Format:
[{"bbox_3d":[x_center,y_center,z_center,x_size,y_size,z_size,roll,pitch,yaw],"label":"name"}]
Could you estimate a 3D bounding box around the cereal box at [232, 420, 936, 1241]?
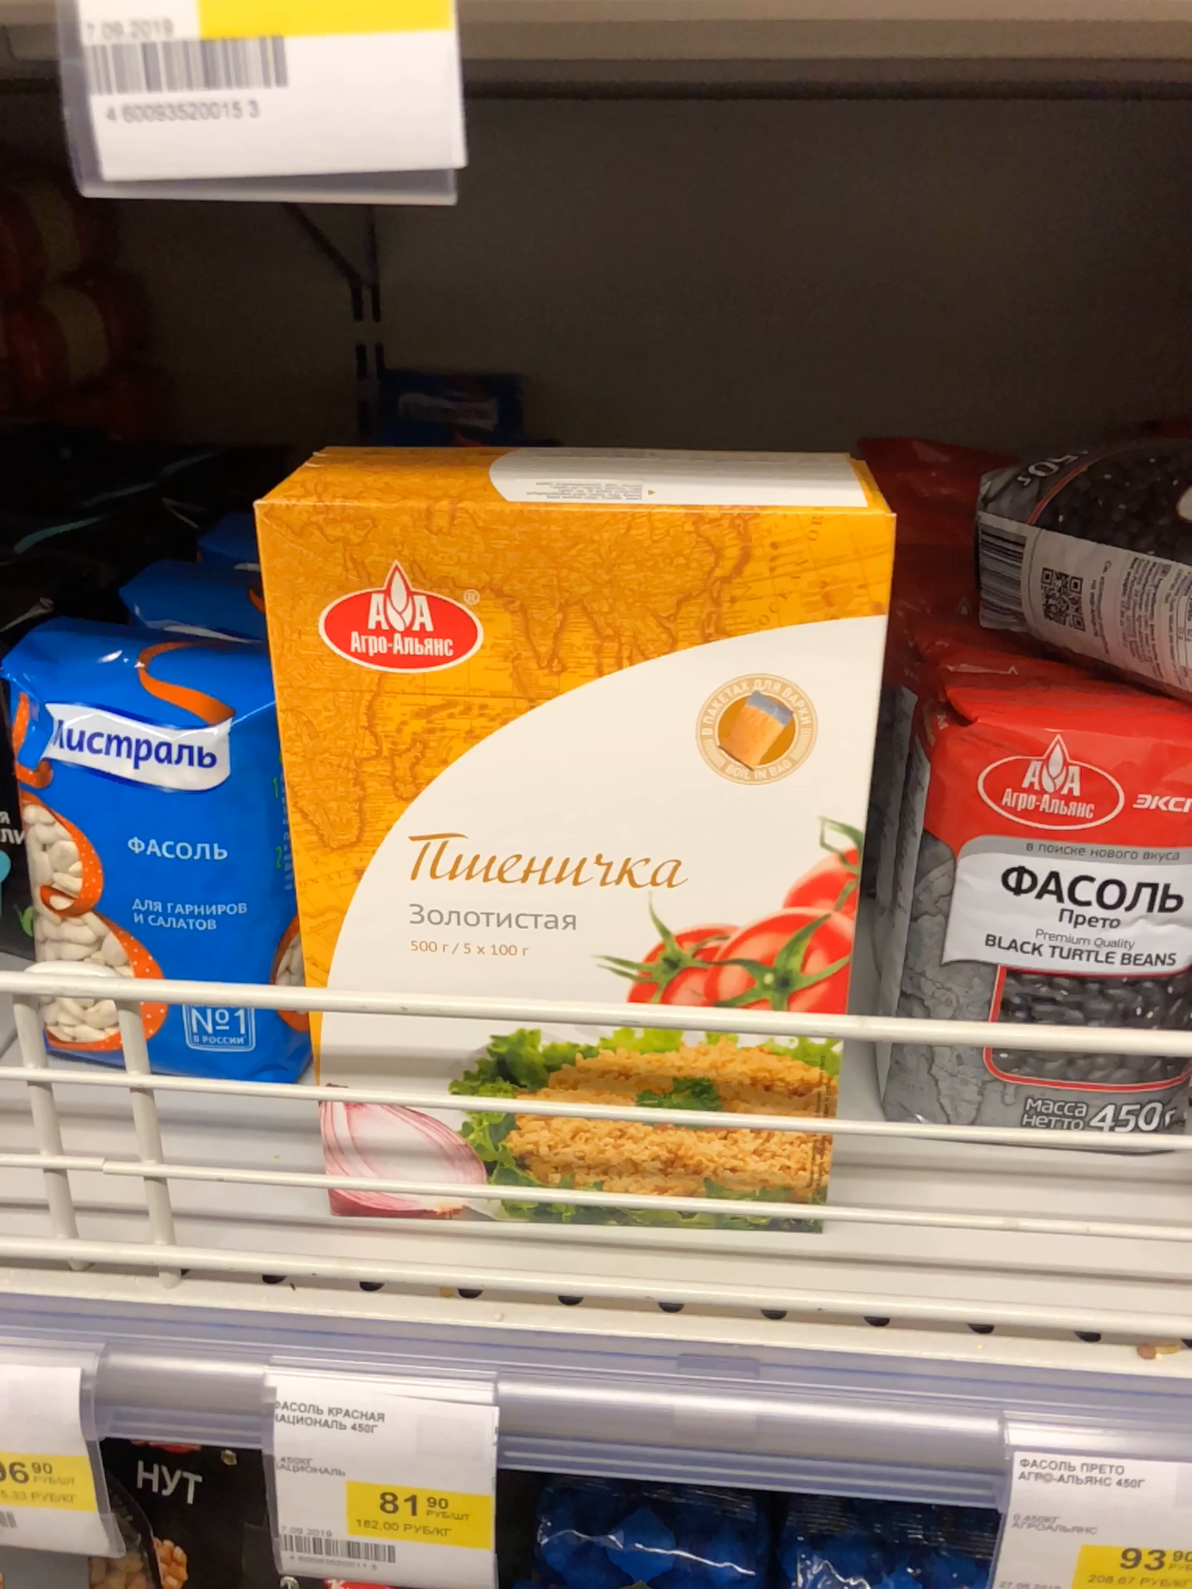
[{"bbox_3d":[-0.001,0.013,0.332,0.140,0.199,0.060,1,26,2],"label":"cereal box"}]
